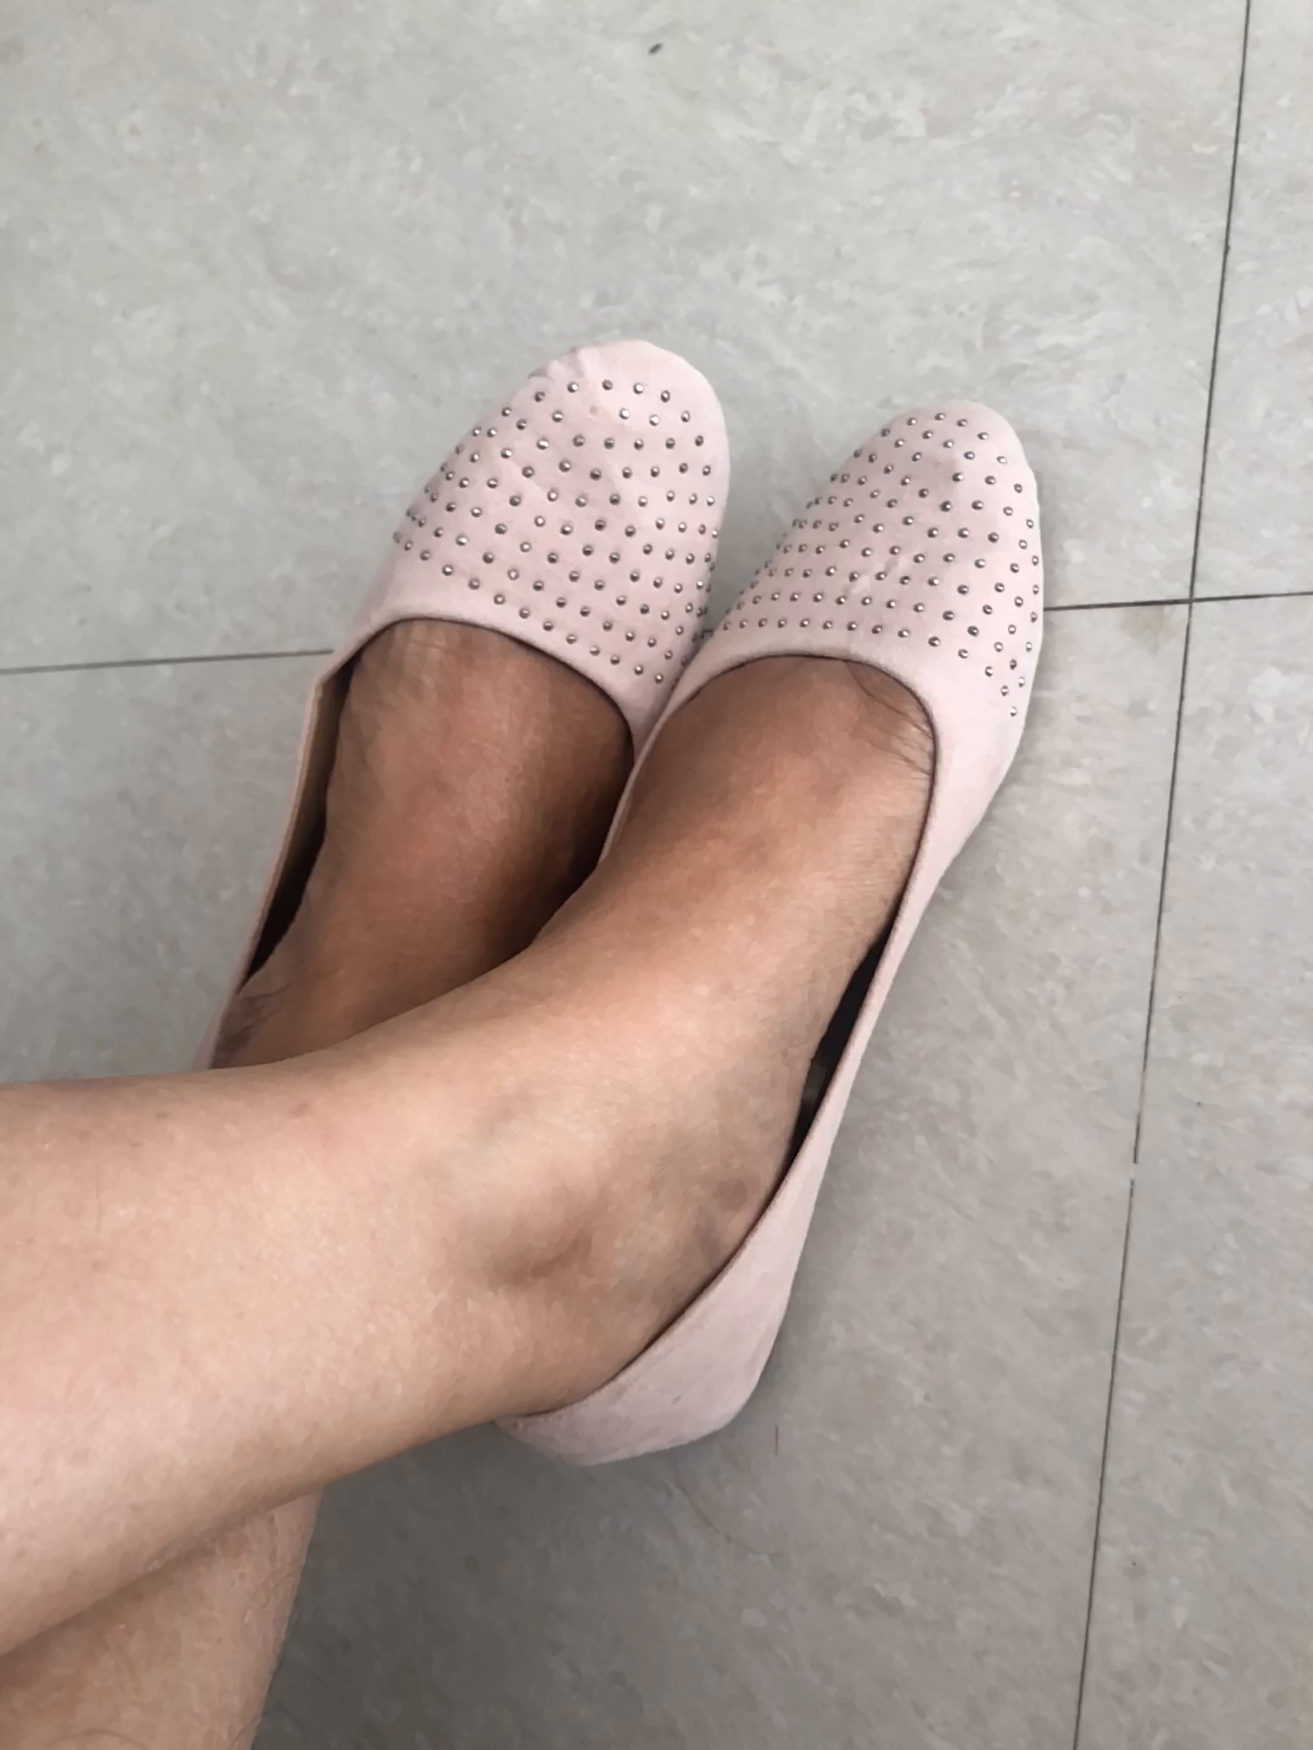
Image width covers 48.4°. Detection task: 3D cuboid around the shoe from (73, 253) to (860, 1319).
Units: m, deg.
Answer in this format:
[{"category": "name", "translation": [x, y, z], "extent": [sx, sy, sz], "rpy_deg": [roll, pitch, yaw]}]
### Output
[{"category": "shoe", "translation": [-0.052, -0.018, 0.372], "extent": [0.240, 0.090, 0.060], "rpy_deg": [-63, 17, 8]}]

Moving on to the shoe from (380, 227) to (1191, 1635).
[{"category": "shoe", "translation": [0.035, 0.005, 0.333], "extent": [0.100, 0.080, 0.270], "rpy_deg": [9, 82, 35]}]
